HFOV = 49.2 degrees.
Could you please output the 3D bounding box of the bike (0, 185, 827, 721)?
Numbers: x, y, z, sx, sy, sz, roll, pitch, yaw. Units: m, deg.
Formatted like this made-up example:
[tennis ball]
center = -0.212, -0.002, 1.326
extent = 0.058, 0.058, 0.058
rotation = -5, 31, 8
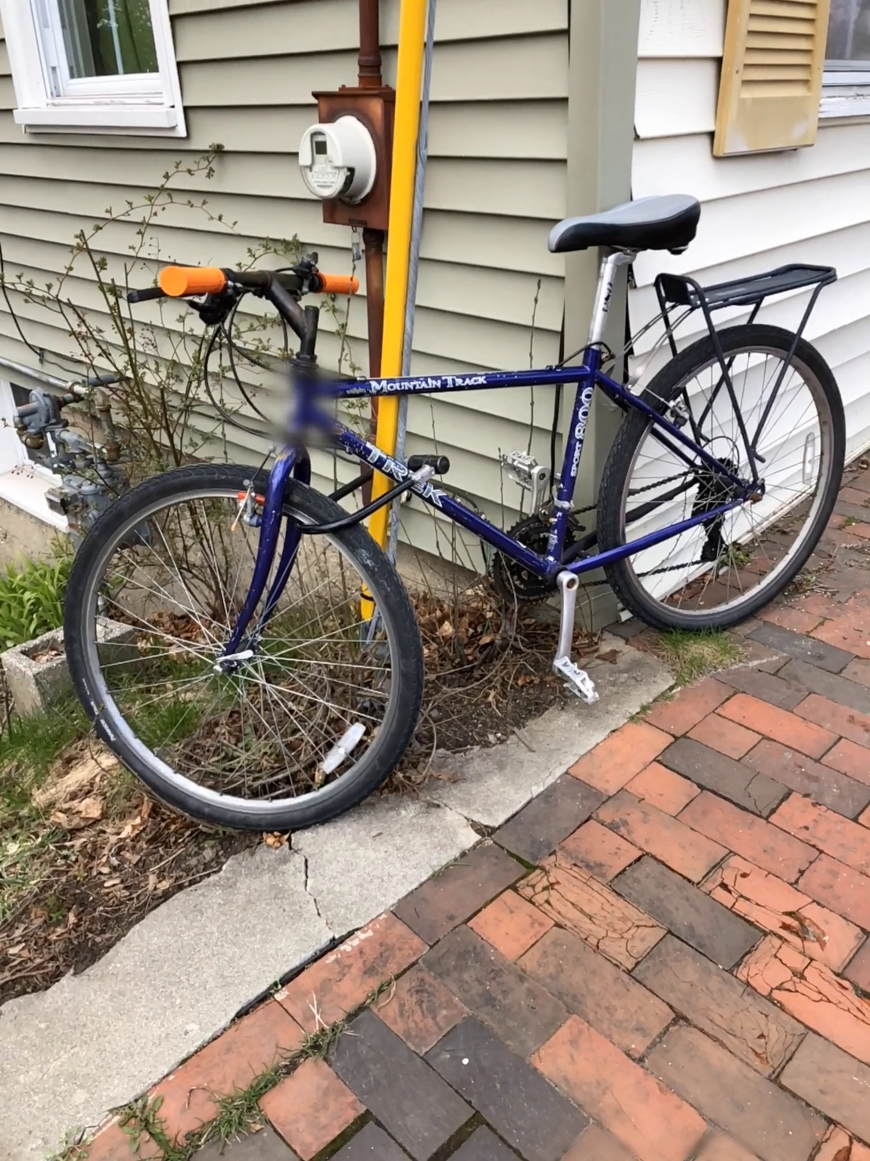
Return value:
[bike]
center = -0.091, -0.266, 1.680
extent = 1.147, 0.690, 0.514
rotation = -9, 28, -11
